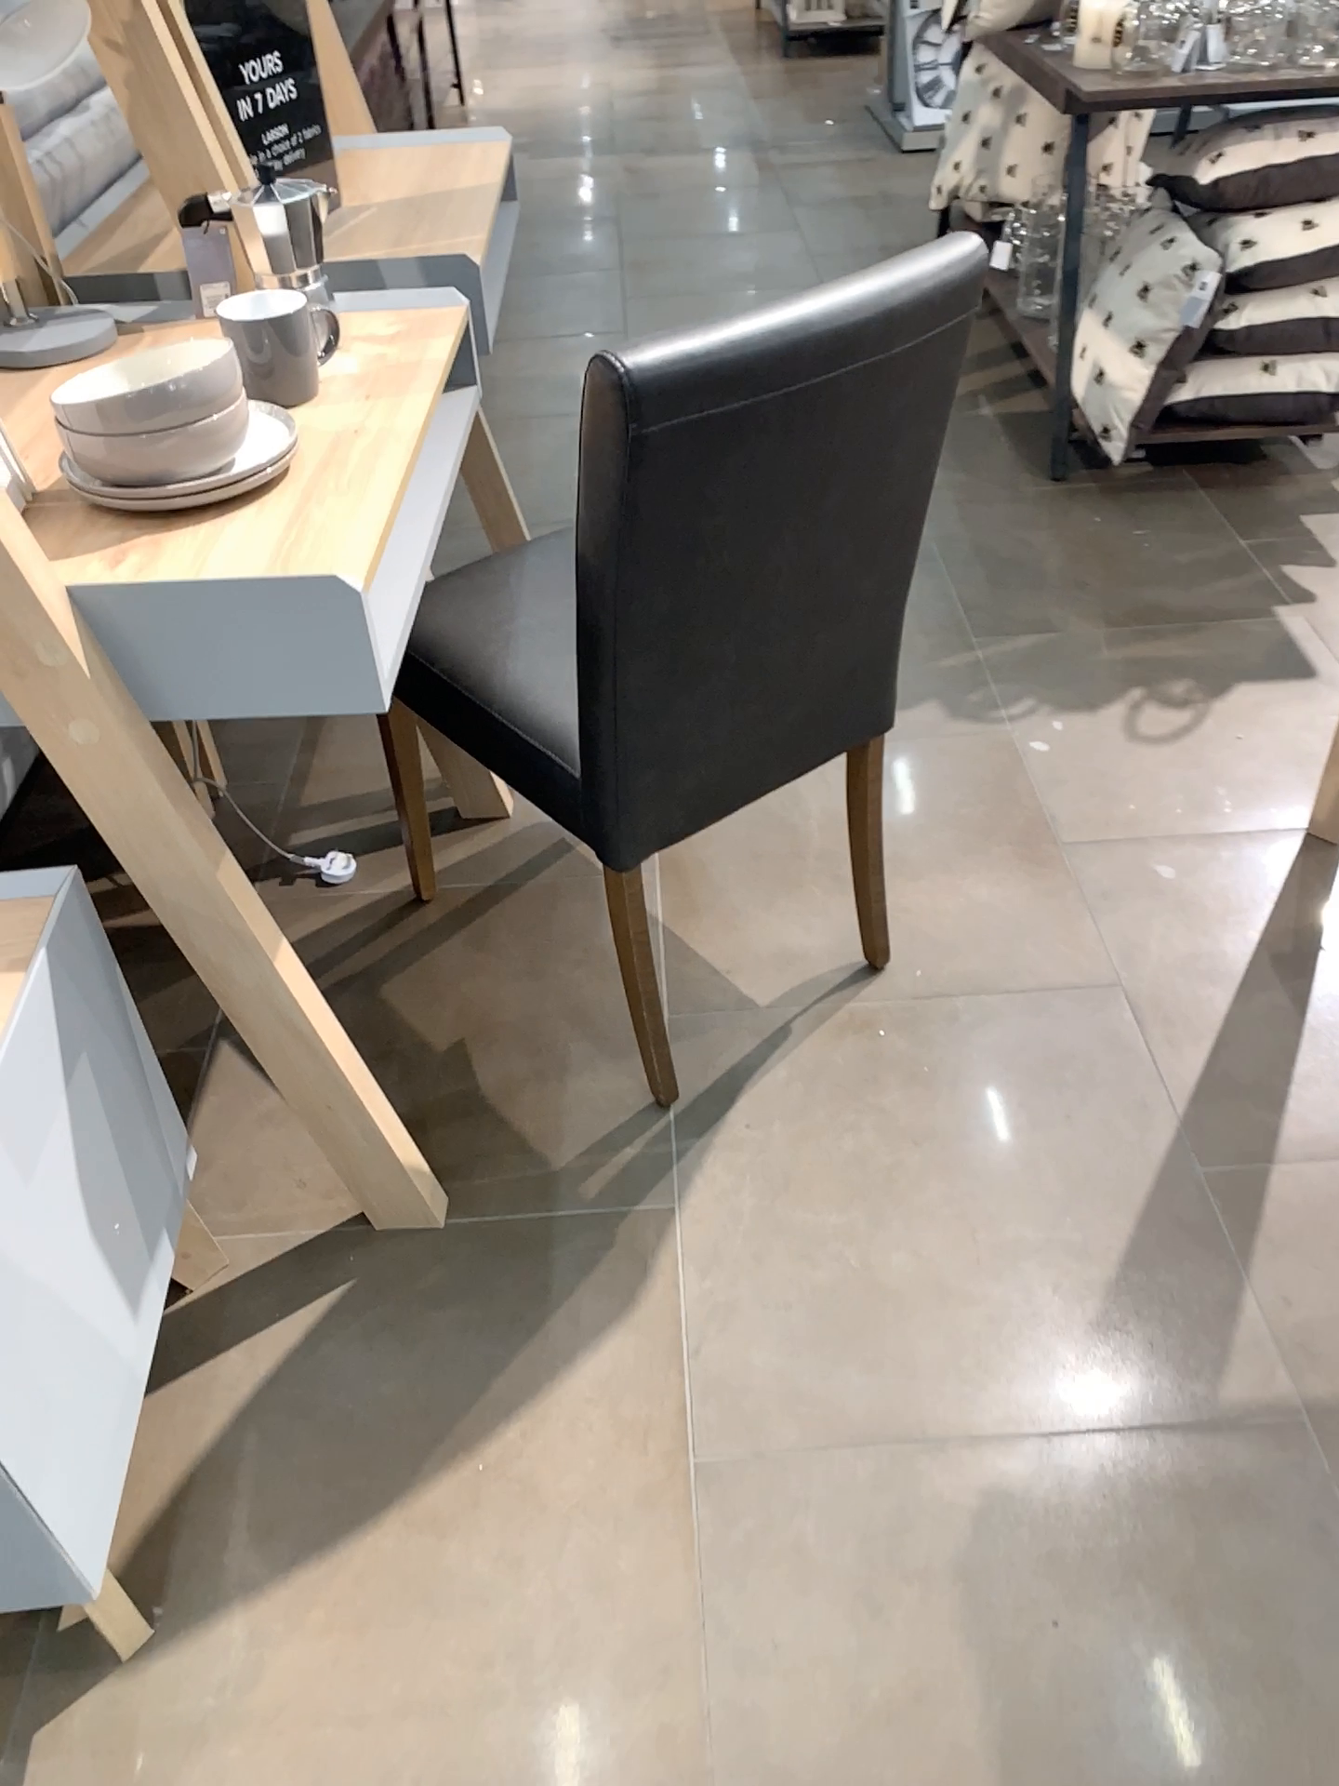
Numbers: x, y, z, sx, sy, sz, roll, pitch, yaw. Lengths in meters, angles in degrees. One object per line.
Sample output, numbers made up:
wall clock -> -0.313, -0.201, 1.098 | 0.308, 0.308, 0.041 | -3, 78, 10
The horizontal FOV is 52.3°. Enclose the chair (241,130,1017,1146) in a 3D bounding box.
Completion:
chair -> -0.039, -0.298, 1.566 | 0.458, 0.886, 0.608 | -29, 46, -28
